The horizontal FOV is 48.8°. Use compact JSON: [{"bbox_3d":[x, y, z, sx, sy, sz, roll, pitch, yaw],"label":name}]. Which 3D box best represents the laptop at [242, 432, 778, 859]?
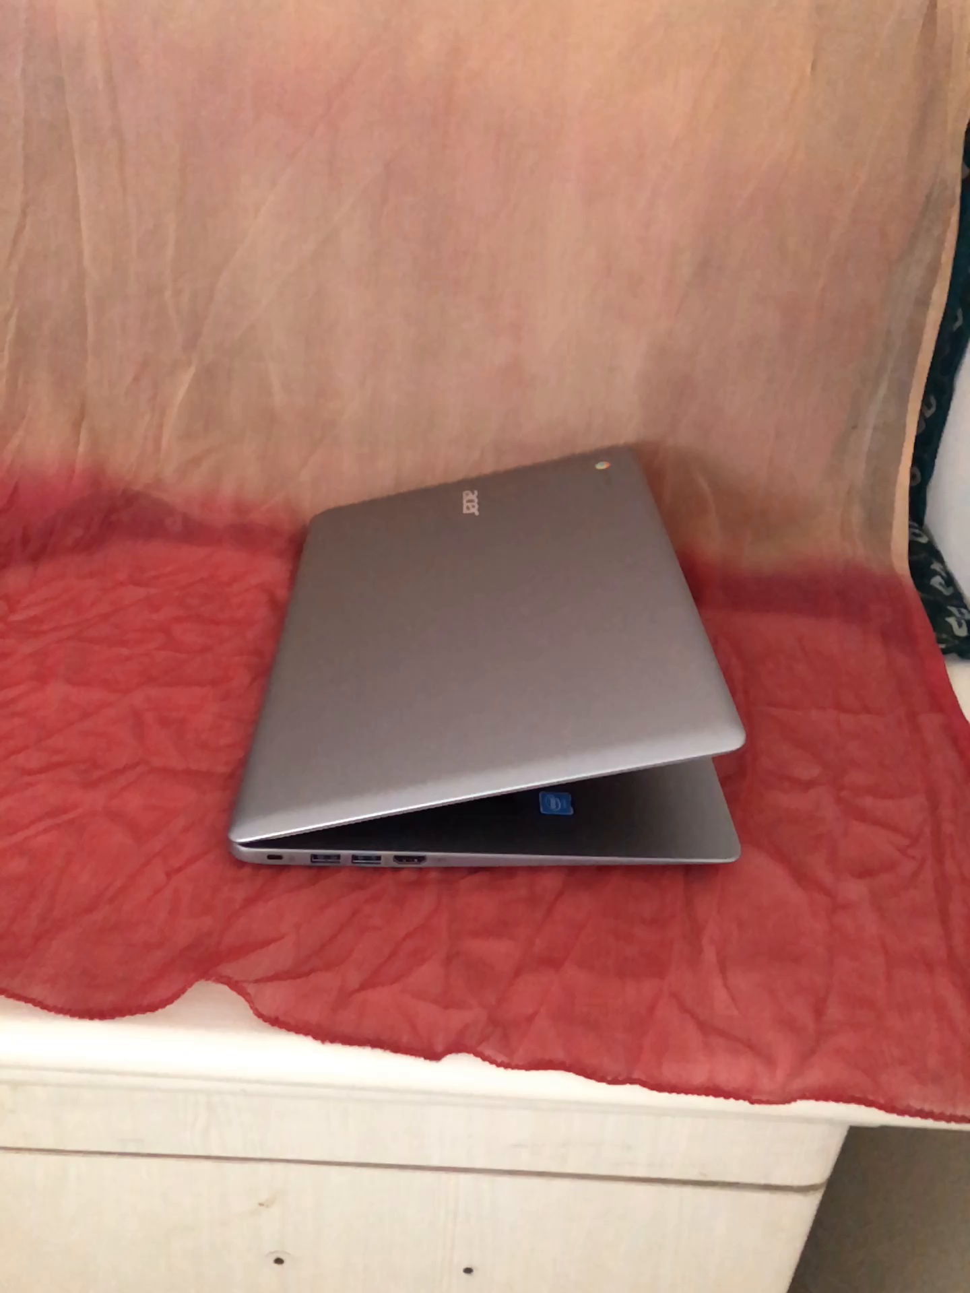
[{"bbox_3d":[0.005,-0.024,0.588,0.219,0.065,0.324,1,33,-2],"label":"laptop"}]
